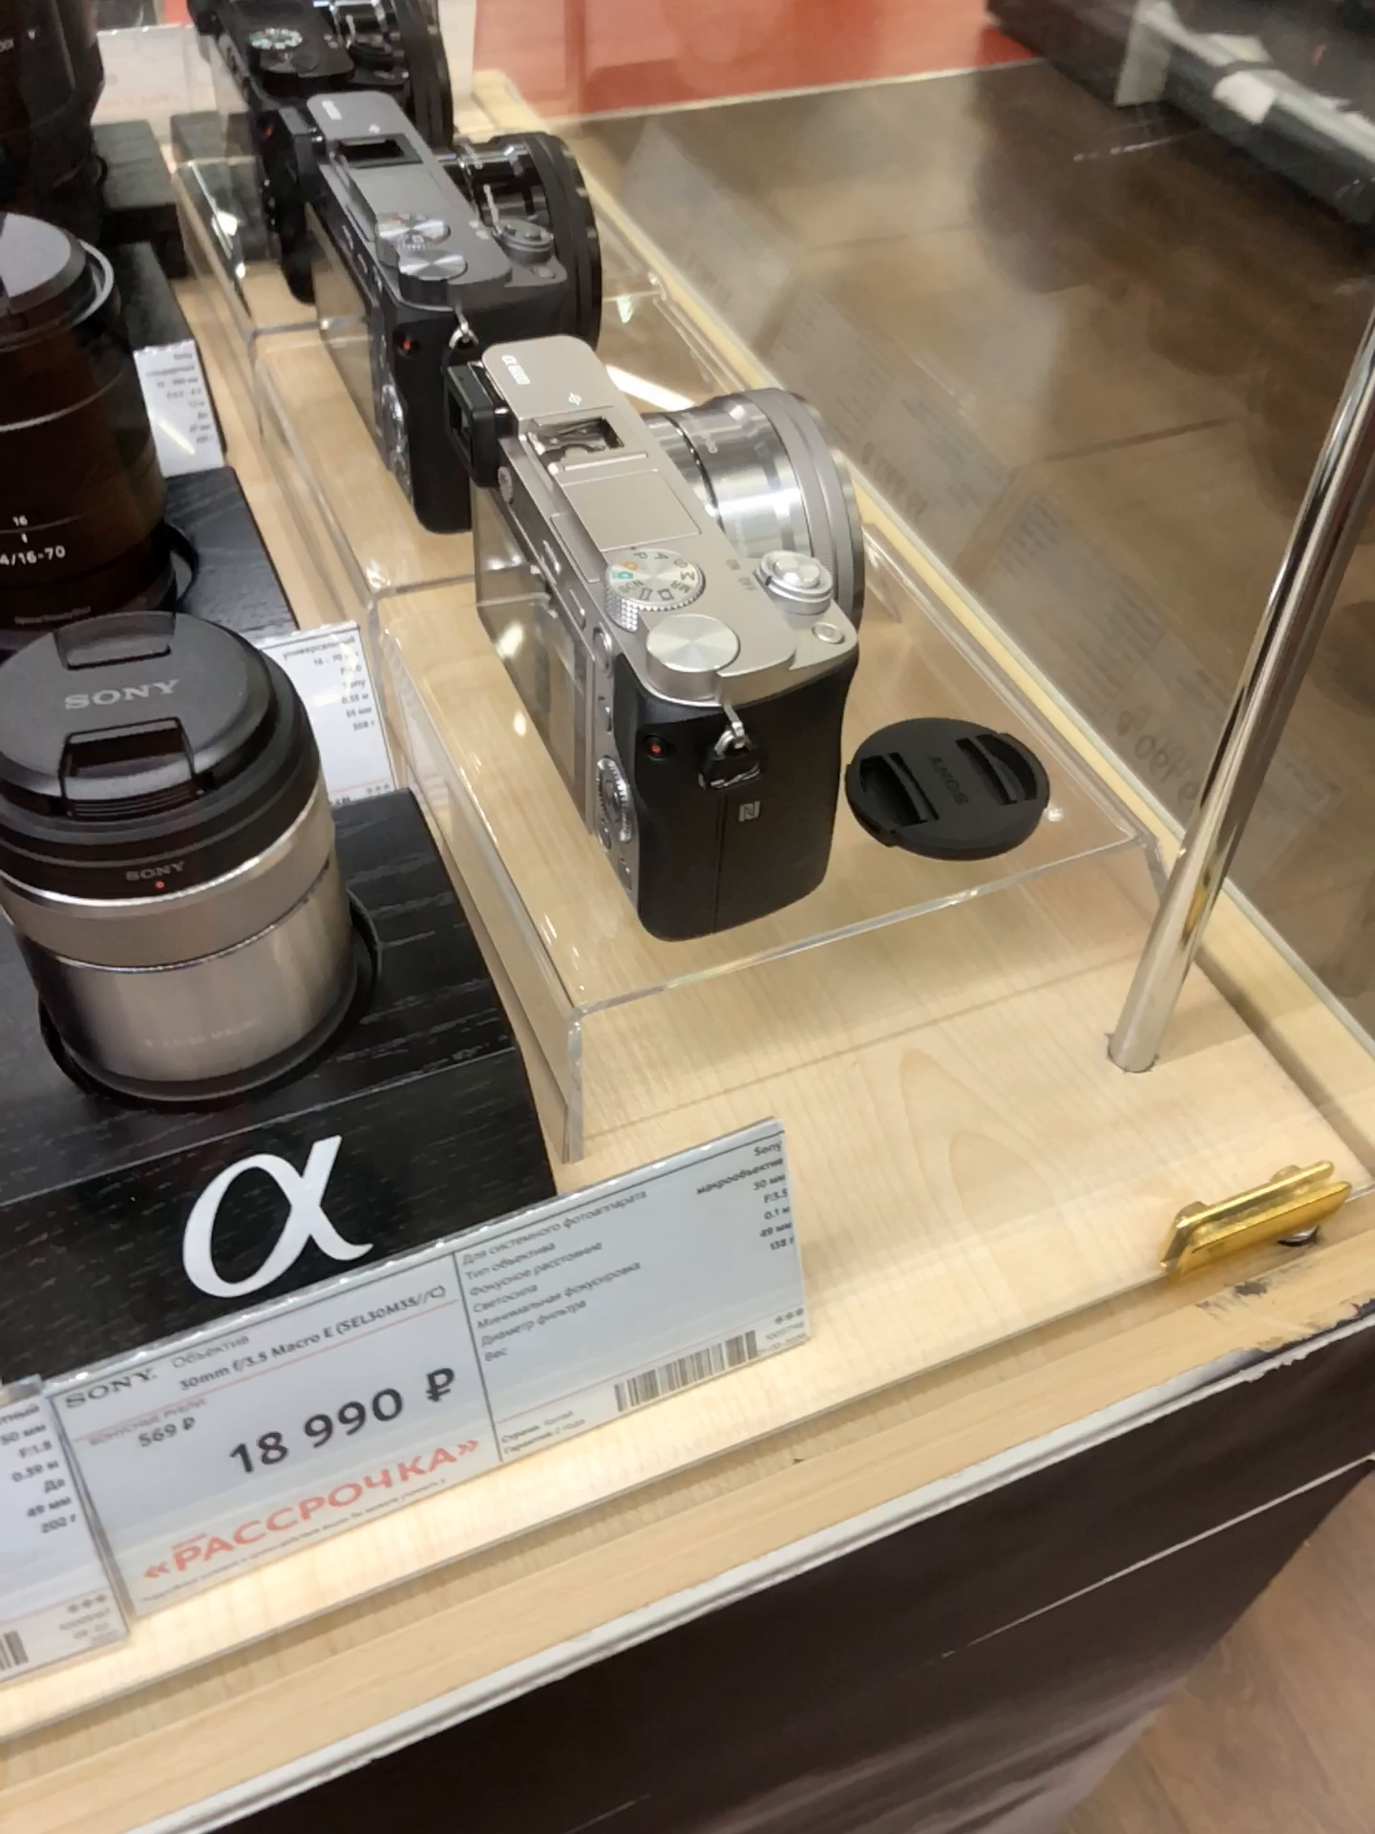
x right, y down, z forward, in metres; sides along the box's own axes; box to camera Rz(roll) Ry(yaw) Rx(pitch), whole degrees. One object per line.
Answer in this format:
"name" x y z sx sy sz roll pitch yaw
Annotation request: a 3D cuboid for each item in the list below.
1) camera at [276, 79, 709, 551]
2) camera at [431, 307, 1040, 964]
"camera" -0.055 -0.166 0.411 0.076 0.061 0.128 -15 50 -16
"camera" 0.003 -0.064 0.318 0.076 0.061 0.124 -15 50 -16
